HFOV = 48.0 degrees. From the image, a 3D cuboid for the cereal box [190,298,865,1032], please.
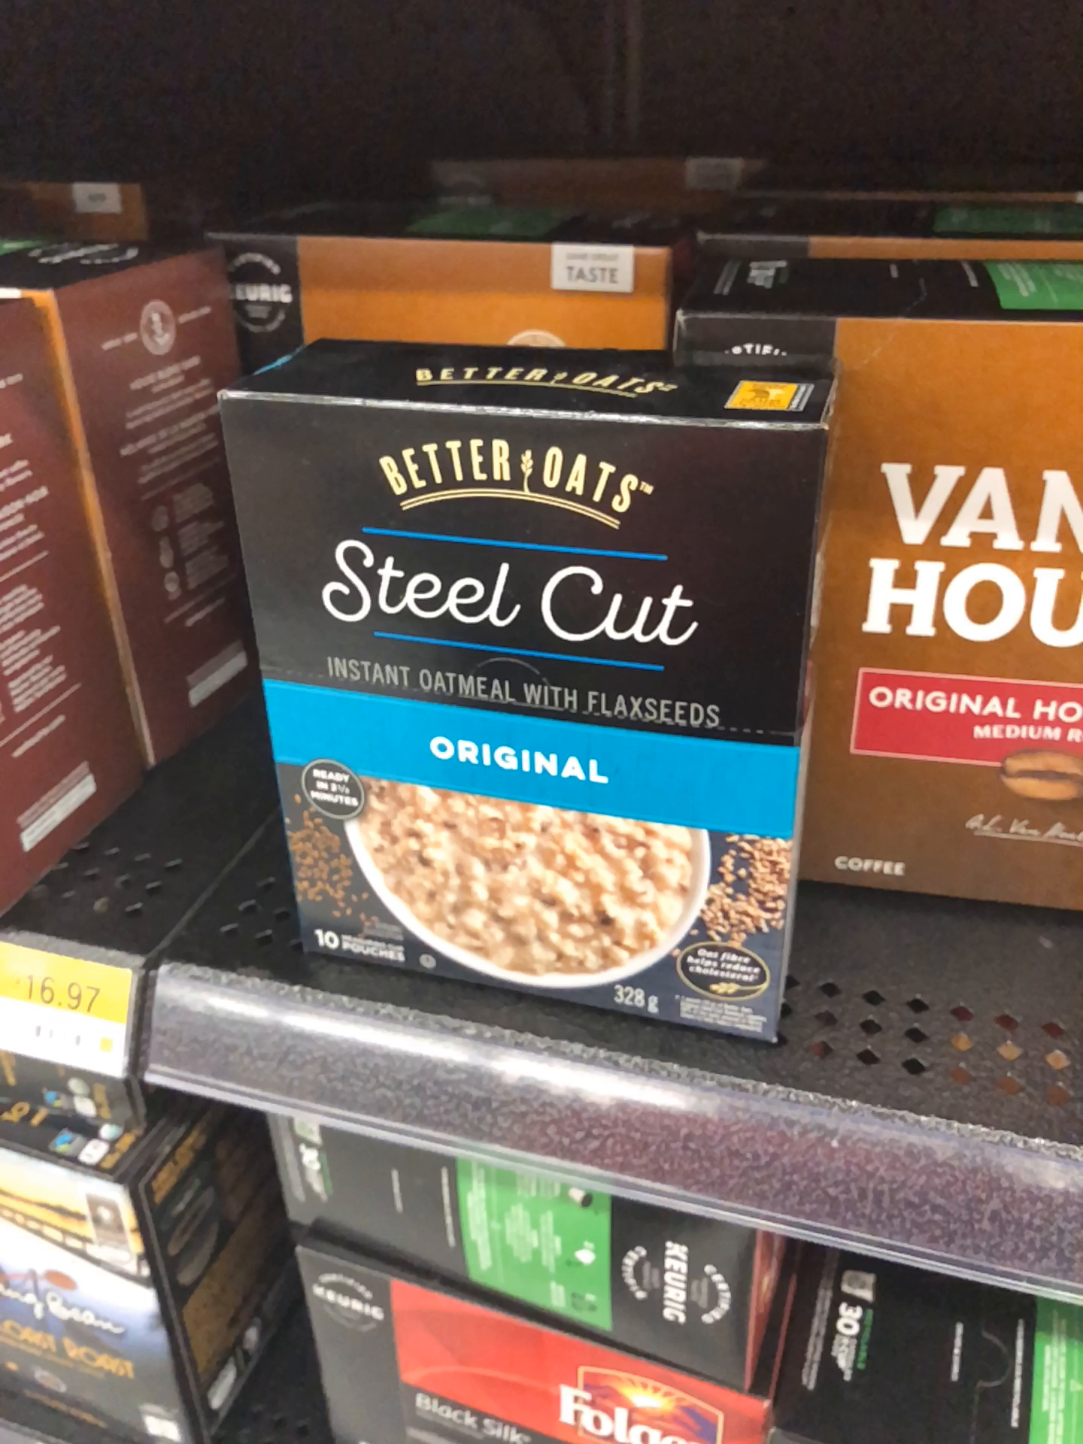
[{"bbox_3d":[0.000,-0.015,0.336,0.150,0.179,0.060,7,32,14],"label":"cereal box"}]
